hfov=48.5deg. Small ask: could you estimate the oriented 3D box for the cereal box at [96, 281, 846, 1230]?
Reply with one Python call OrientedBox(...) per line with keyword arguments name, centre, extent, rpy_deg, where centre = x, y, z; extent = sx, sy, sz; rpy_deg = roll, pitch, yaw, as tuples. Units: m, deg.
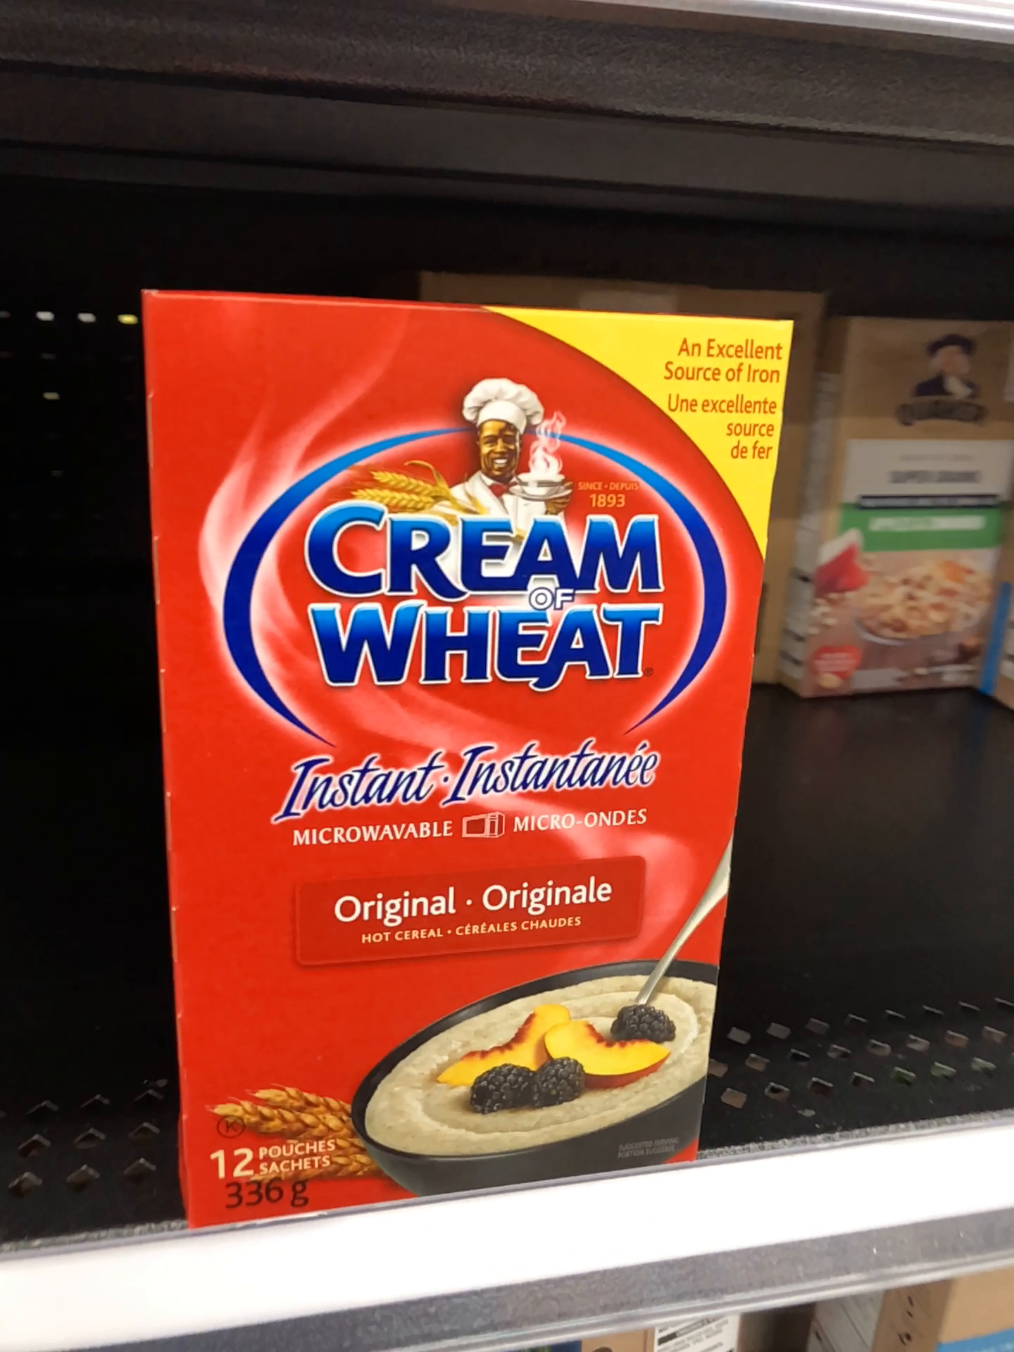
OrientedBox(name="cereal box", centre=(-0.012, 0.016, 0.250), extent=(0.130, 0.189, 0.060), rpy_deg=(-2, 20, -13))
